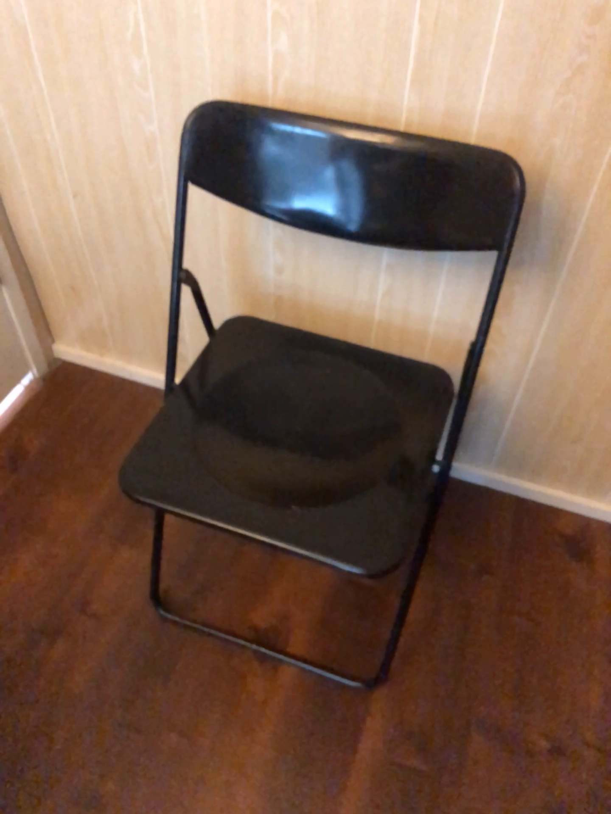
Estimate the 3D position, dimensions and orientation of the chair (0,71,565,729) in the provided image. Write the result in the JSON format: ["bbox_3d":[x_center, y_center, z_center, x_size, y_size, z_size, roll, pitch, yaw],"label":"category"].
[{"bbox_3d":[-0.021,0.015,0.925,0.490,0.666,0.473,16,50,12],"label":"chair"}]
